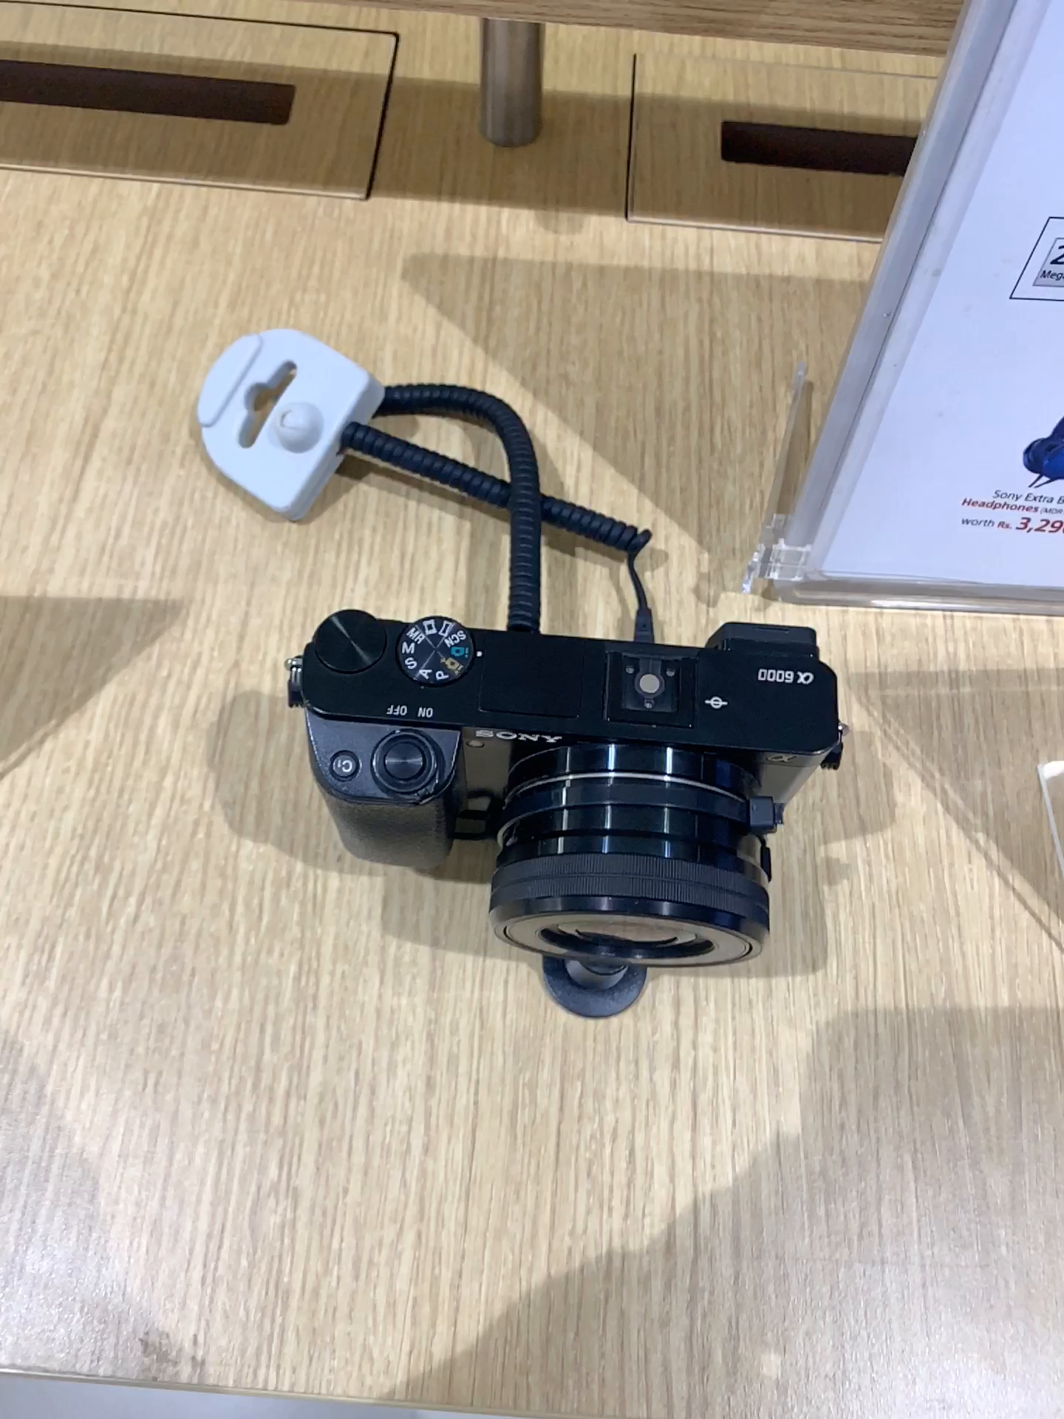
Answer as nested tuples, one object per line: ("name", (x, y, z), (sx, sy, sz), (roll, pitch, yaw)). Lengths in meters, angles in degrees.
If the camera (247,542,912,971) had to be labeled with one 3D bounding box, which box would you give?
("camera", (0.010, 0.017, 0.271), (0.130, 0.090, 0.070), (3, 66, -1))
